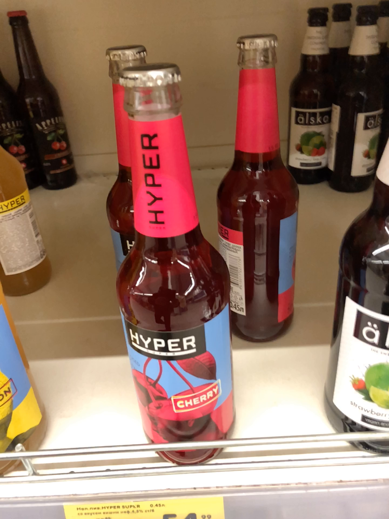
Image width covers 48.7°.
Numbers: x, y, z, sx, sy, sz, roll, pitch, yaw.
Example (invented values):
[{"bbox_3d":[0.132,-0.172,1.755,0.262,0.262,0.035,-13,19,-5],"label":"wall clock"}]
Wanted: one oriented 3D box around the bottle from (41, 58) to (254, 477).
[{"bbox_3d":[-0.007,0.019,0.258,0.080,0.242,0.070,2,31,11],"label":"bottle"}]
